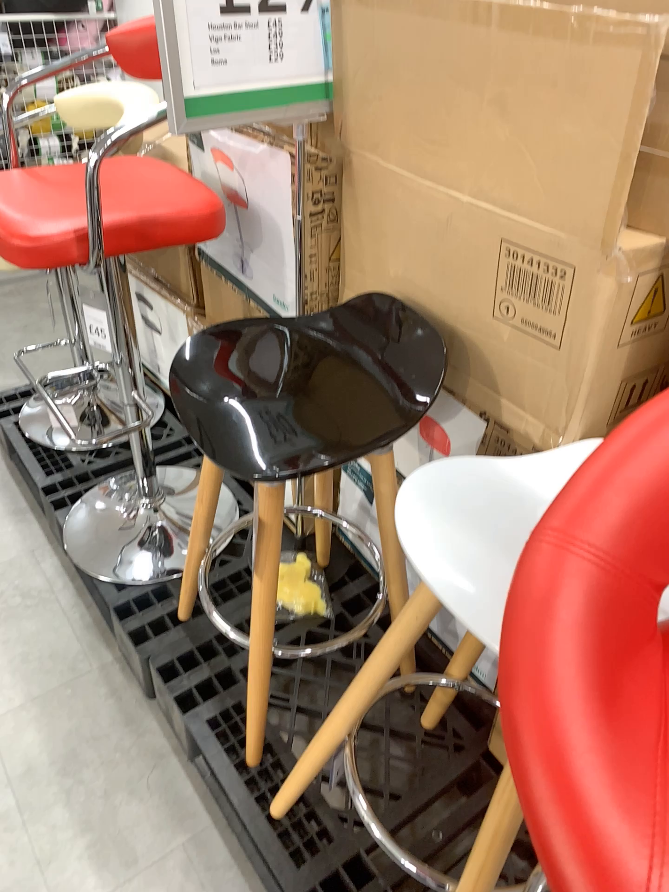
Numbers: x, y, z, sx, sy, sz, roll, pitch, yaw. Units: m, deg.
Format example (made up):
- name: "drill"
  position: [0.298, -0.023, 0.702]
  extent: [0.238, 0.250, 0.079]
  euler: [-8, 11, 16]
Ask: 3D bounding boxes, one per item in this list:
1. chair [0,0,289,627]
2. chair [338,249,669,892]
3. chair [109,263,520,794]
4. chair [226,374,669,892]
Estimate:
- name: "chair"
  position: [-0.443, -0.263, 1.369]
  extent: [0.451, 1.029, 0.552]
  euler: [-24, 43, -33]
- name: "chair"
  position: [0.365, 0.446, 0.532]
  extent: [0.451, 0.980, 0.512]
  euler: [-24, 43, -33]
- name: "chair"
  position: [-0.064, 0.120, 1.150]
  extent: [0.430, 0.673, 0.432]
  euler: [-15, 39, -25]
- name: "chair"
  position: [0.180, 0.344, 0.905]
  extent: [0.481, 0.663, 0.411]
  euler: [-20, 41, -30]
